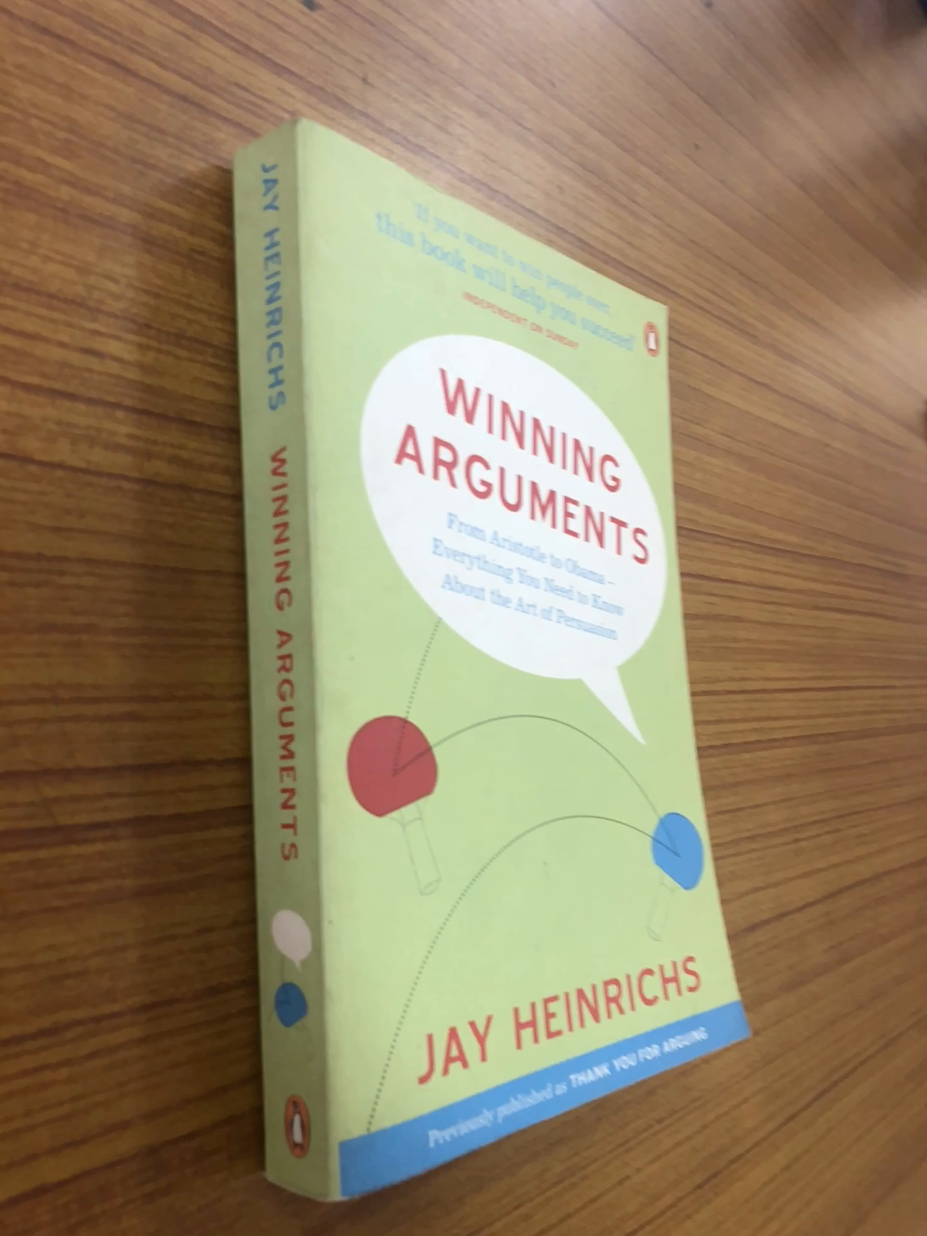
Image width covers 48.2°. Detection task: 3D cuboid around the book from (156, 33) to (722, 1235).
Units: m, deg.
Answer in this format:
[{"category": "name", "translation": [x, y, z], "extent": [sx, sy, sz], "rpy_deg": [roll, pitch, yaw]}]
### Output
[{"category": "book", "translation": [0.002, 0.006, 0.232], "extent": [0.141, 0.030, 0.210], "rpy_deg": [7, 77, -48]}]
